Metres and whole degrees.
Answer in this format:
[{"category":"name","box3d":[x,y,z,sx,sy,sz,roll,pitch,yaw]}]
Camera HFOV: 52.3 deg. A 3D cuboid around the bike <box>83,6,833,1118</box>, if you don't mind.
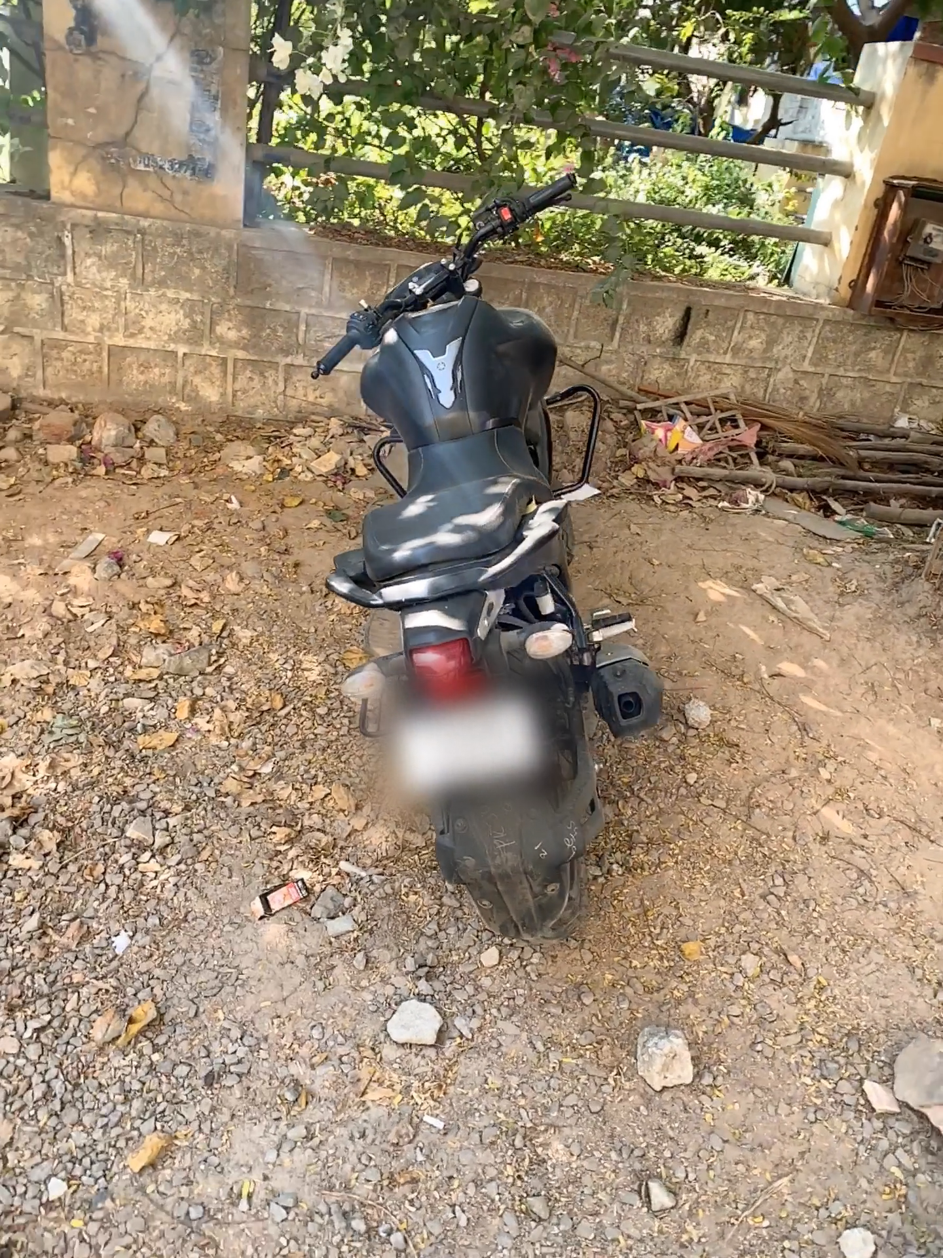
[{"category":"bike","box3d":[-0.193,-0.330,2.081,0.818,1.499,1.764,5,32,-10]}]
